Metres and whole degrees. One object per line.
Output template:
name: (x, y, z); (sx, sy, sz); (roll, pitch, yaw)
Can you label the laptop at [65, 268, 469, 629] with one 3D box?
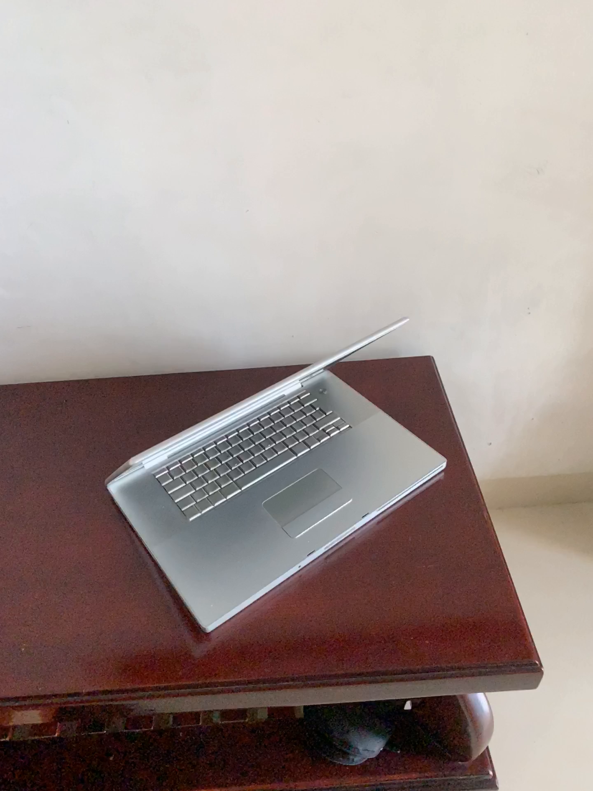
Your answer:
laptop: (-0.026, 0.036, 0.787); (0.400, 0.193, 0.266); (-28, 48, -27)
